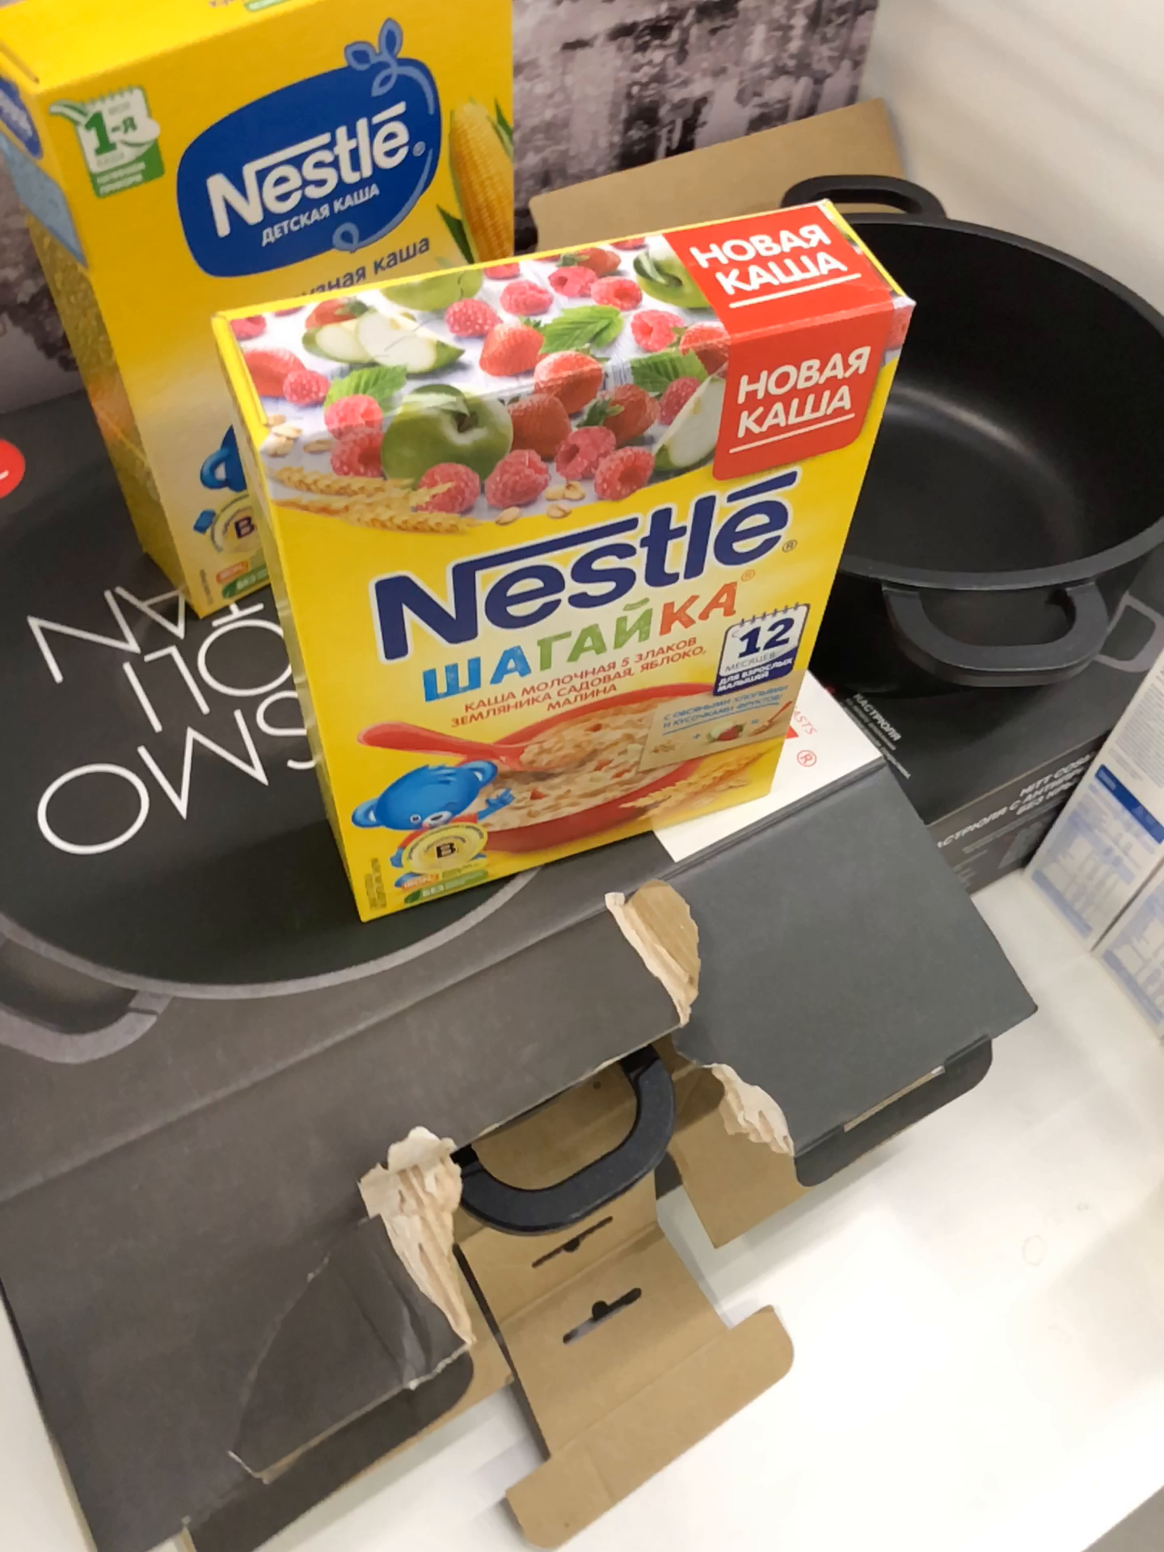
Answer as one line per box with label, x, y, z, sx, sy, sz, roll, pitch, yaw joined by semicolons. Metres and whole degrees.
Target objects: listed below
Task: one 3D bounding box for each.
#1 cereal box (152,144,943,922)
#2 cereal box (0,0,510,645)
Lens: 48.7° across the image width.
cereal box;-0.008;-0.051;0.355;0.160;0.199;0.050;-16;57;-12
cereal box;-0.105;-0.161;0.428;0.160;0.199;0.050;-34;63;-22
